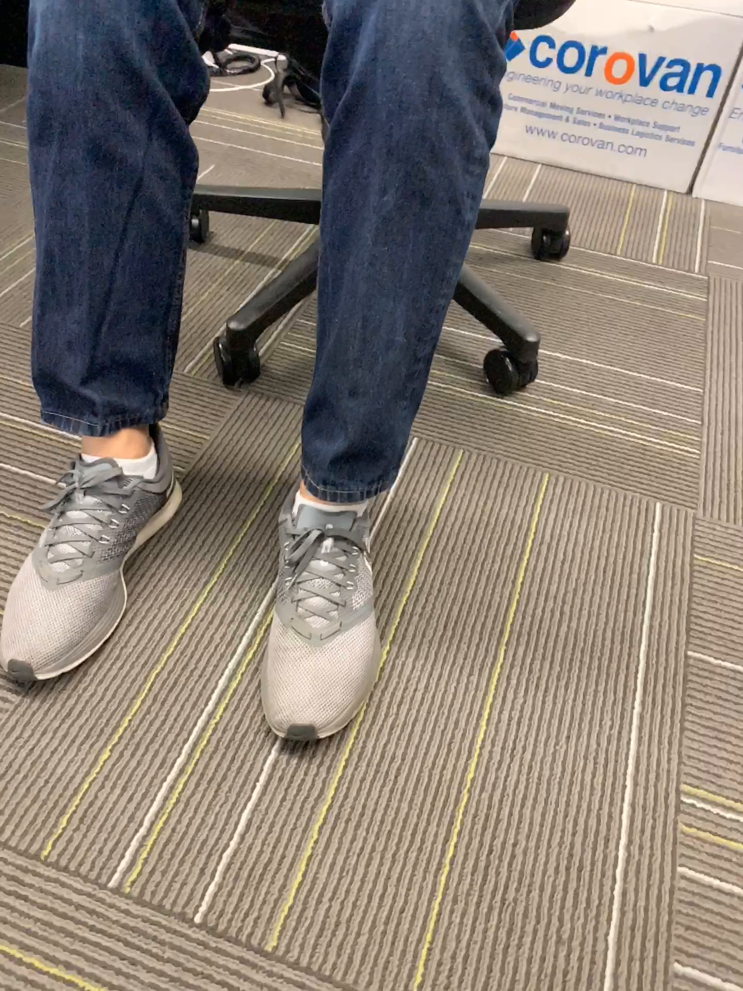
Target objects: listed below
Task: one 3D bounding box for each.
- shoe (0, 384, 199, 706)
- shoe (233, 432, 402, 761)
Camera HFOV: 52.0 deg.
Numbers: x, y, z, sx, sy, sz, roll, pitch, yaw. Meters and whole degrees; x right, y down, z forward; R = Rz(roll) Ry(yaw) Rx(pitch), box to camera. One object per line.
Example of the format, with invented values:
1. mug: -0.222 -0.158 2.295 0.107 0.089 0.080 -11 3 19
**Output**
1. shoe: -0.291 0.037 0.759 0.120 0.122 0.291 12 47 7
2. shoe: -0.042 0.086 0.742 0.120 0.122 0.292 5 47 0
